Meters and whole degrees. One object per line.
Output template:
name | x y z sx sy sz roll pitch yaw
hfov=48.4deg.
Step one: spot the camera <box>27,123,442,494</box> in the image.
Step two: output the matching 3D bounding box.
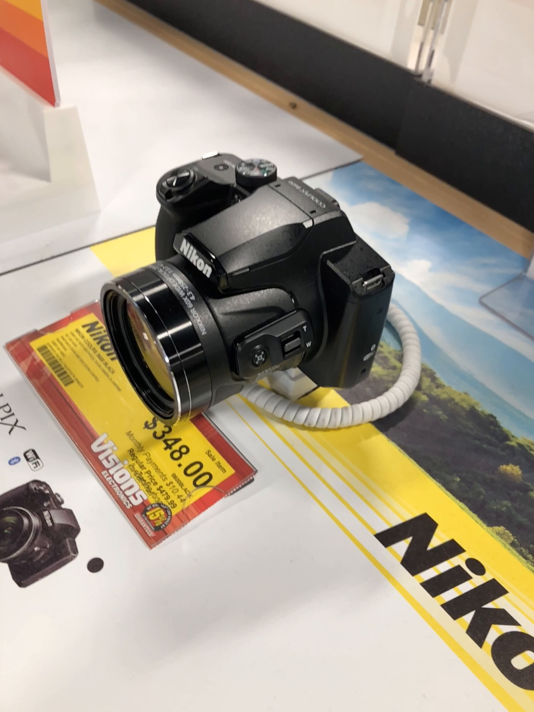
camera | -0.019 -0.033 0.260 0.110 0.070 0.131 -25 51 -28
